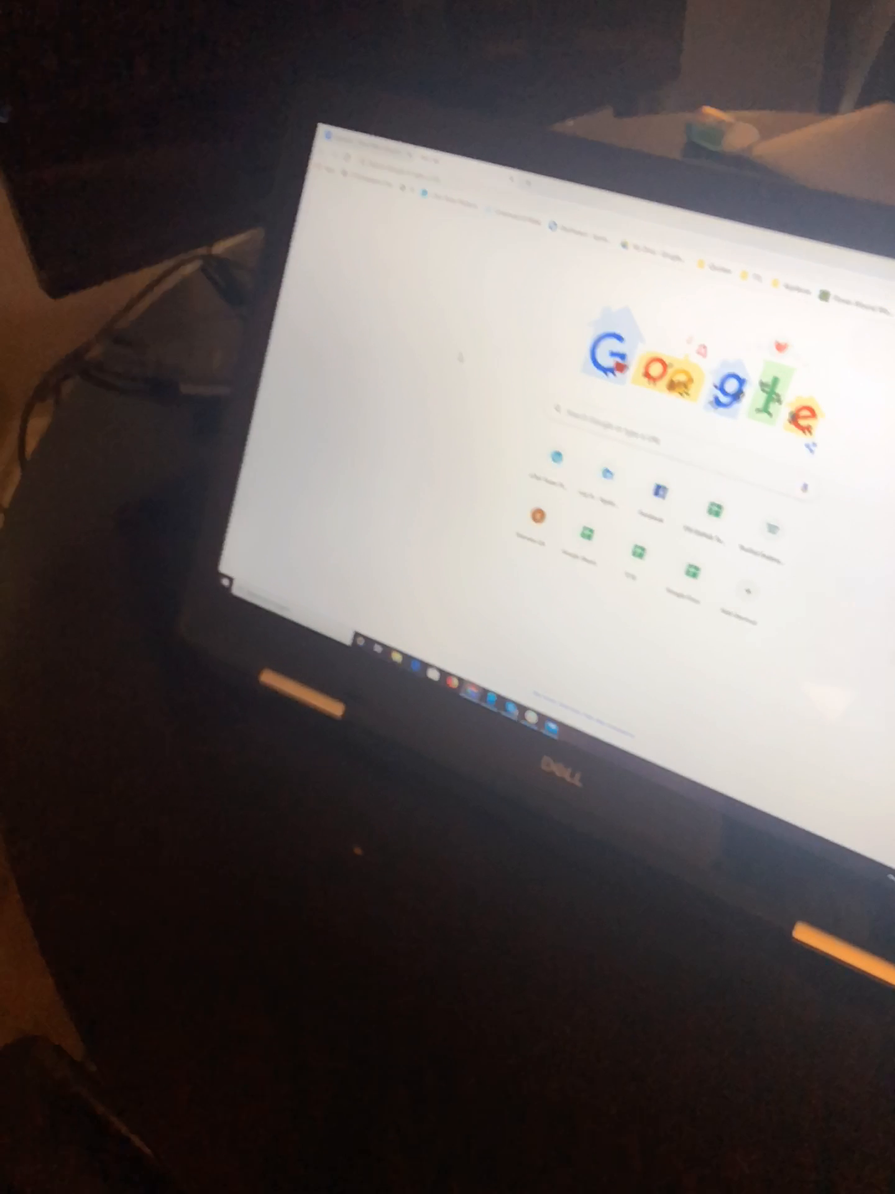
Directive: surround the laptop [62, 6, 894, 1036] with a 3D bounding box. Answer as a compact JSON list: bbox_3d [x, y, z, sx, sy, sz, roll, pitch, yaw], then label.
[{"bbox_3d":[0.114,-0.069,0.448,0.419,0.232,0.268,22,50,21],"label":"laptop"}]
